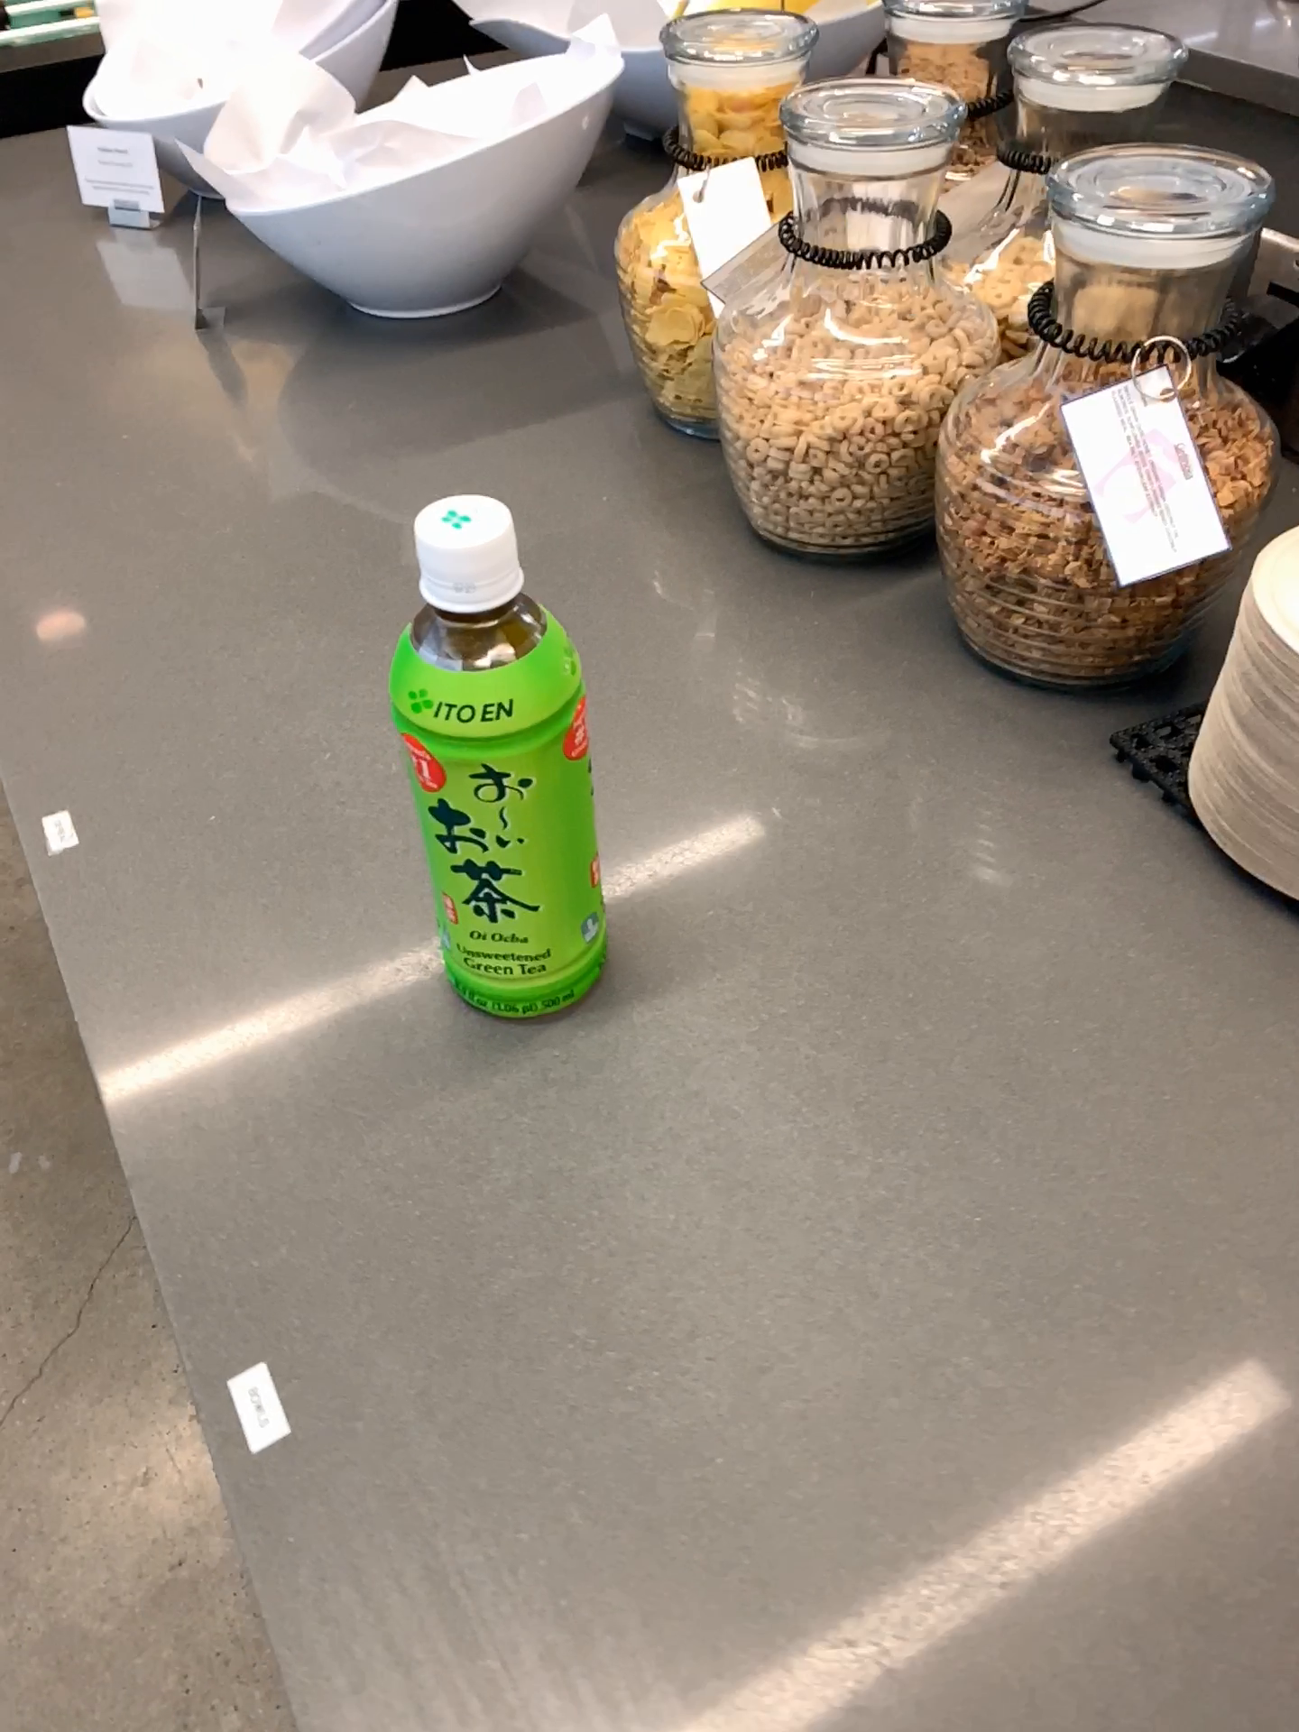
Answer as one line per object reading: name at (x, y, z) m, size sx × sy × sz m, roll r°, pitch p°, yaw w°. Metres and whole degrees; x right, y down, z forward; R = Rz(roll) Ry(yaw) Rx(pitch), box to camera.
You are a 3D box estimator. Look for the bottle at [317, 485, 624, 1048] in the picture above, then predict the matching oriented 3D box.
bottle at (-0.055, -0.028, 0.482) m, size 0.070 × 0.199 × 0.070 m, roll -1°, pitch 44°, yaw 1°
